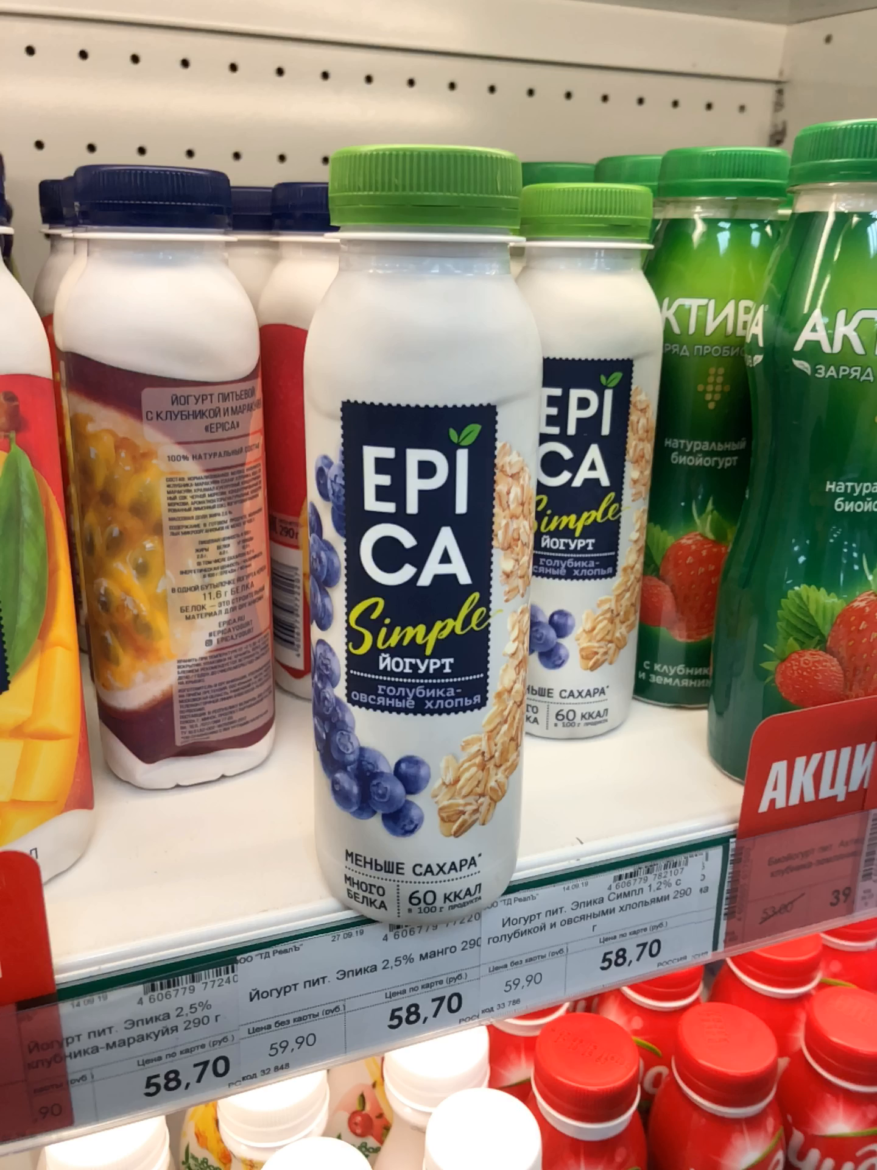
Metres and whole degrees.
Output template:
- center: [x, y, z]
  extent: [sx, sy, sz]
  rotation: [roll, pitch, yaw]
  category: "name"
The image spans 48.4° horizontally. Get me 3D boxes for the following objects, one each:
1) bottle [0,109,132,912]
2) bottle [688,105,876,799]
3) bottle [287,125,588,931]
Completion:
- center: [-0.111, -0.012, 0.225]
  extent: [0.053, 0.170, 0.049]
  rotation: [1, 20, 0]
  category: "bottle"
- center: [0.114, -0.033, 0.279]
  extent: [0.053, 0.182, 0.053]
  rotation: [1, 20, 0]
  category: "bottle"
- center: [-0.002, -0.009, 0.224]
  extent: [0.053, 0.170, 0.052]
  rotation: [1, 20, 0]
  category: "bottle"
